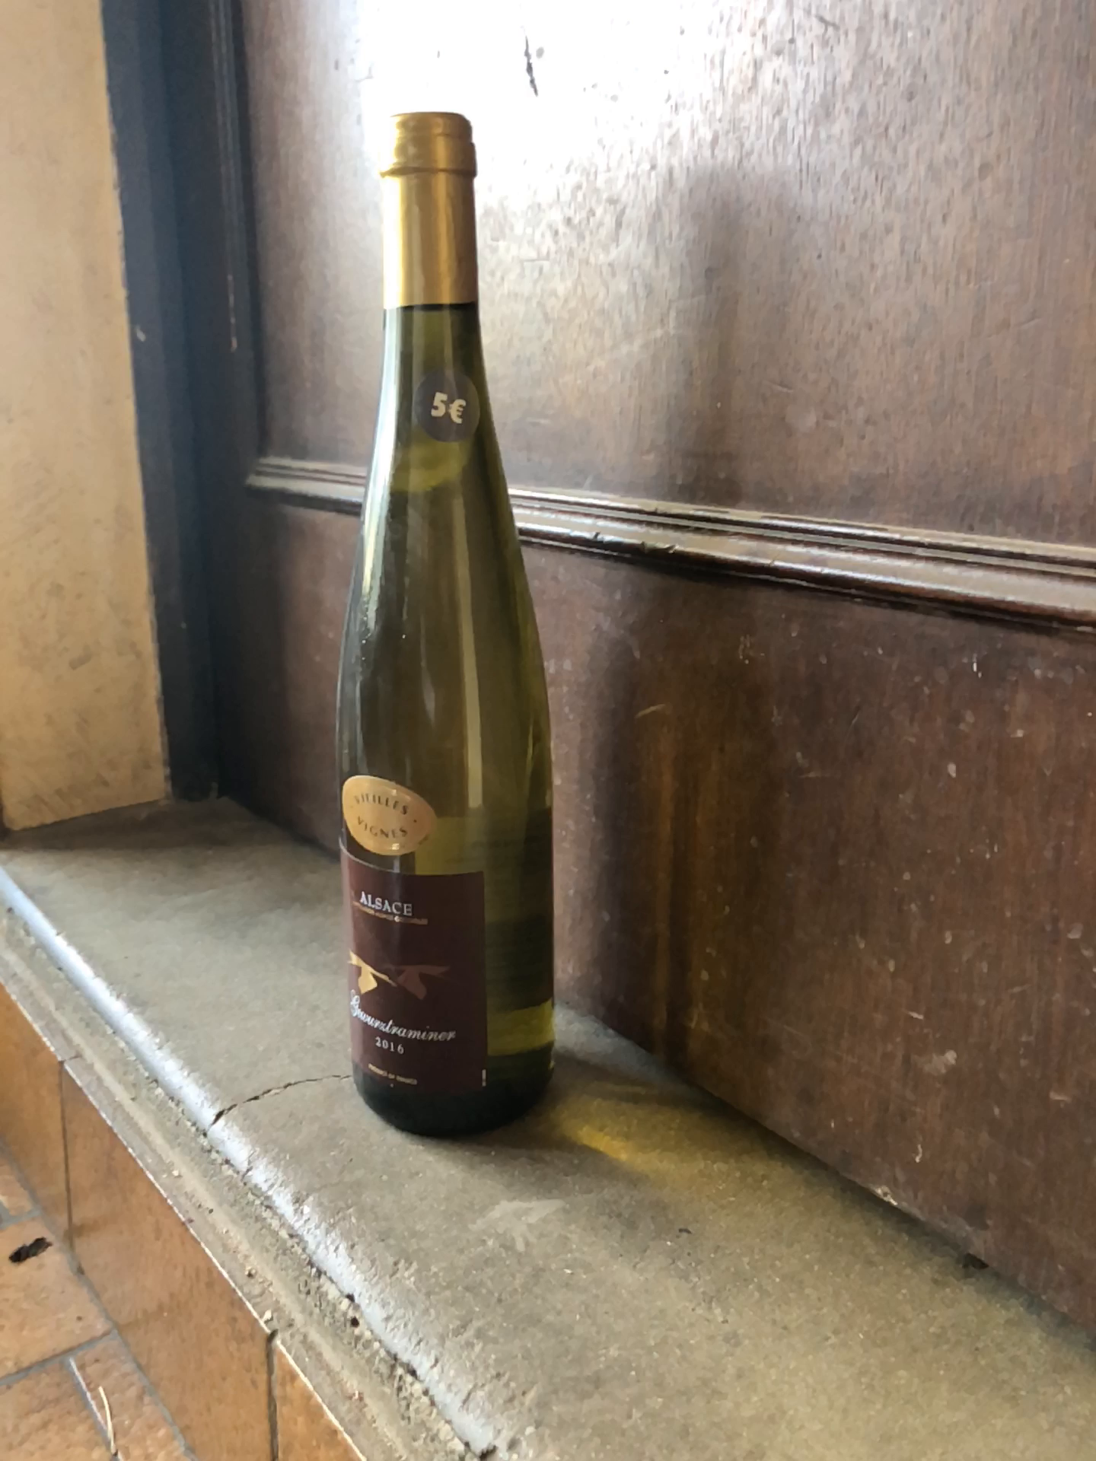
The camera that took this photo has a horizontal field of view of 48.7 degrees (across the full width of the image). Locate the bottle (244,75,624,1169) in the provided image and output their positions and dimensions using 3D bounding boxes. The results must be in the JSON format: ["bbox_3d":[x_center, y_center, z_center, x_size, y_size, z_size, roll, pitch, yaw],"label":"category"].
[{"bbox_3d":[-0.030,-0.027,0.389,0.080,0.309,0.080,0,15,0],"label":"bottle"}]
